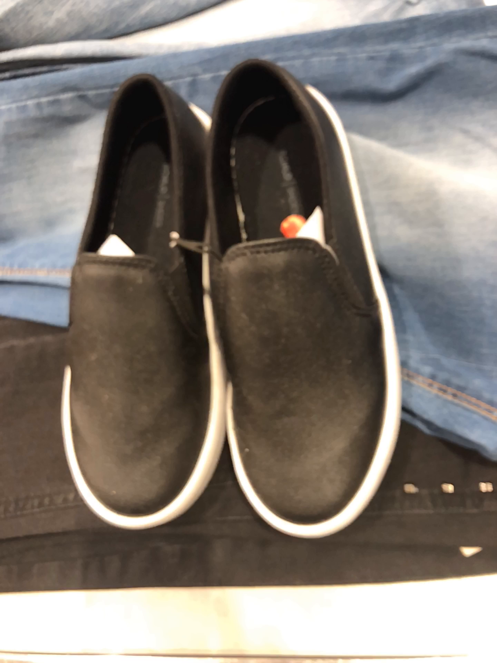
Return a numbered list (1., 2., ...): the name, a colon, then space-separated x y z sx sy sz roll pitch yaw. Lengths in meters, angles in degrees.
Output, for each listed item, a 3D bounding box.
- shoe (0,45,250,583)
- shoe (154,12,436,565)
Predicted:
1. shoe: -0.068 -0.011 0.327 0.110 0.100 0.260 1 80 12
2. shoe: 0.023 -0.020 0.318 0.110 0.100 0.260 -6 80 8
